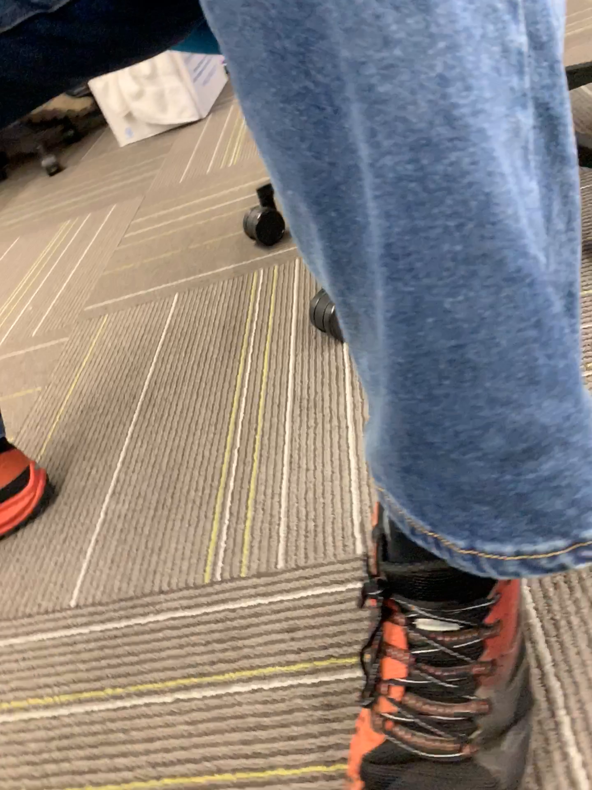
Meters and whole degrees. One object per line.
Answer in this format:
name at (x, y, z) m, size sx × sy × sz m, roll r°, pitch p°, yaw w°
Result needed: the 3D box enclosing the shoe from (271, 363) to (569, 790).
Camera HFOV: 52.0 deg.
shoe at (0.096, 0.149, 0.408) m, size 0.126 × 0.106 × 0.315 m, roll 7°, pitch 73°, yaw 23°
